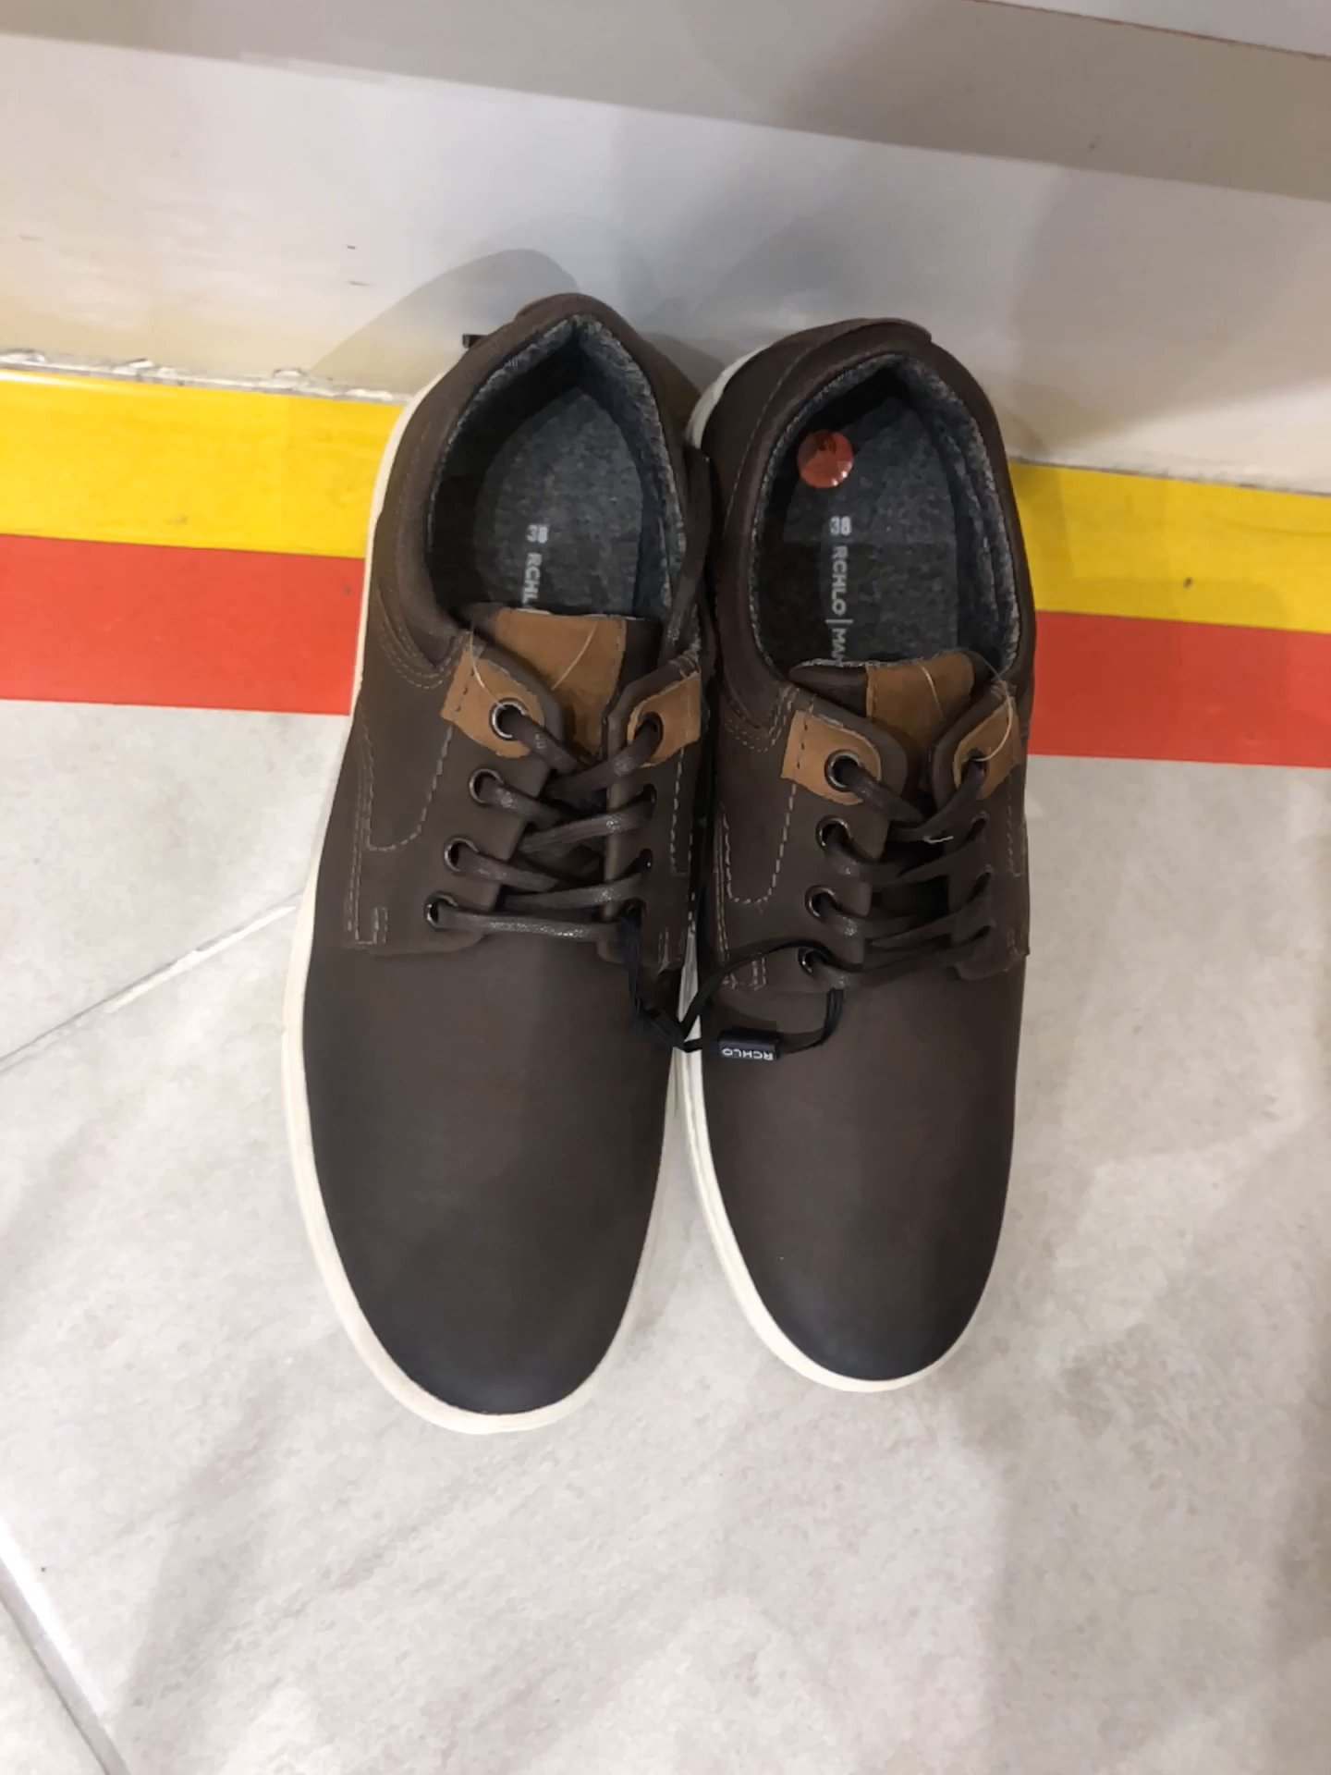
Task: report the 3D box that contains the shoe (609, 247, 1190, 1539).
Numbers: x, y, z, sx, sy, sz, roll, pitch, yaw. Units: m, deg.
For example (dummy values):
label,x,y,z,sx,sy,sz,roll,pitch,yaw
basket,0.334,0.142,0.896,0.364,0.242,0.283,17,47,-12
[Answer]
label,x,y,z,sx,sy,sz,roll,pitch,yaw
shoe,0.053,-0.001,0.367,0.100,0.100,0.270,-4,94,-12

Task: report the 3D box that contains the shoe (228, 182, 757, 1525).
label,x,y,z,sx,sy,sz,roll,pitch,yaw
shoe,-0.044,-0.006,0.356,0.100,0.100,0.270,2,90,-12
